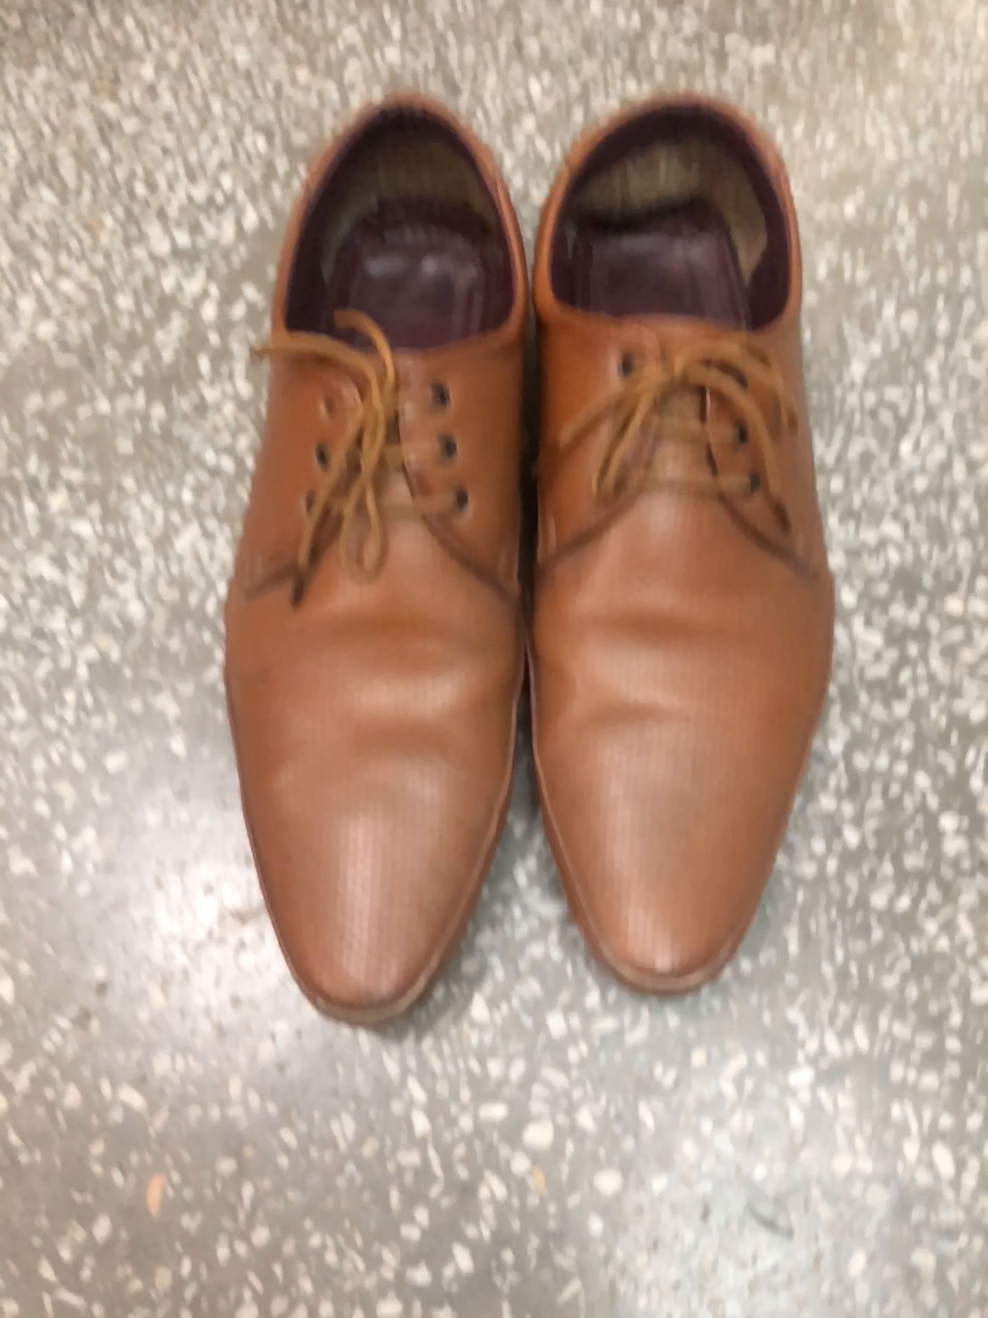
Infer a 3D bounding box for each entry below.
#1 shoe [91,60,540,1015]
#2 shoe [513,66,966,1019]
[{"bbox_3d":[-0.039,-0.035,0.359,0.105,0.118,0.284,1,71,1],"label":"shoe"},{"bbox_3d":[0.060,-0.034,0.360,0.105,0.118,0.284,1,71,1],"label":"shoe"}]
